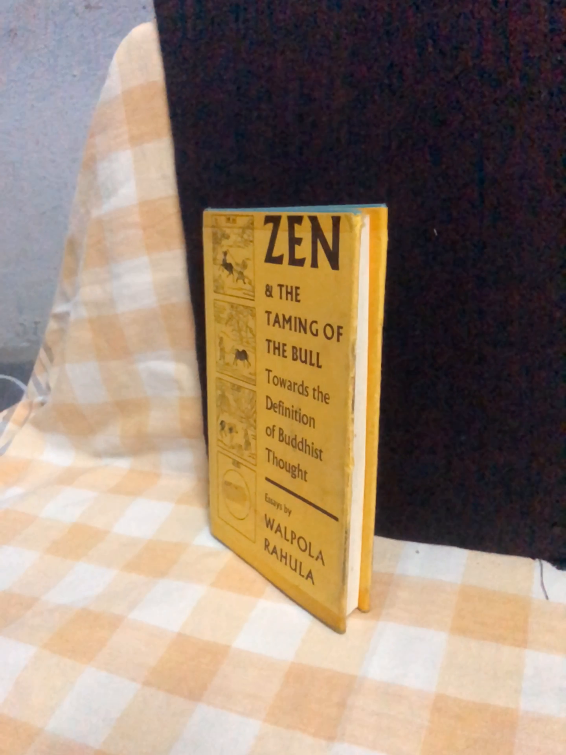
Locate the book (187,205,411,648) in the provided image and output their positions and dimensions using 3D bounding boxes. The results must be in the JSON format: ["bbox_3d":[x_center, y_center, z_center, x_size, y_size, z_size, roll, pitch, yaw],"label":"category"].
[{"bbox_3d":[0.000,0.015,0.344,0.030,0.209,0.140,-12,20,-37],"label":"book"}]
